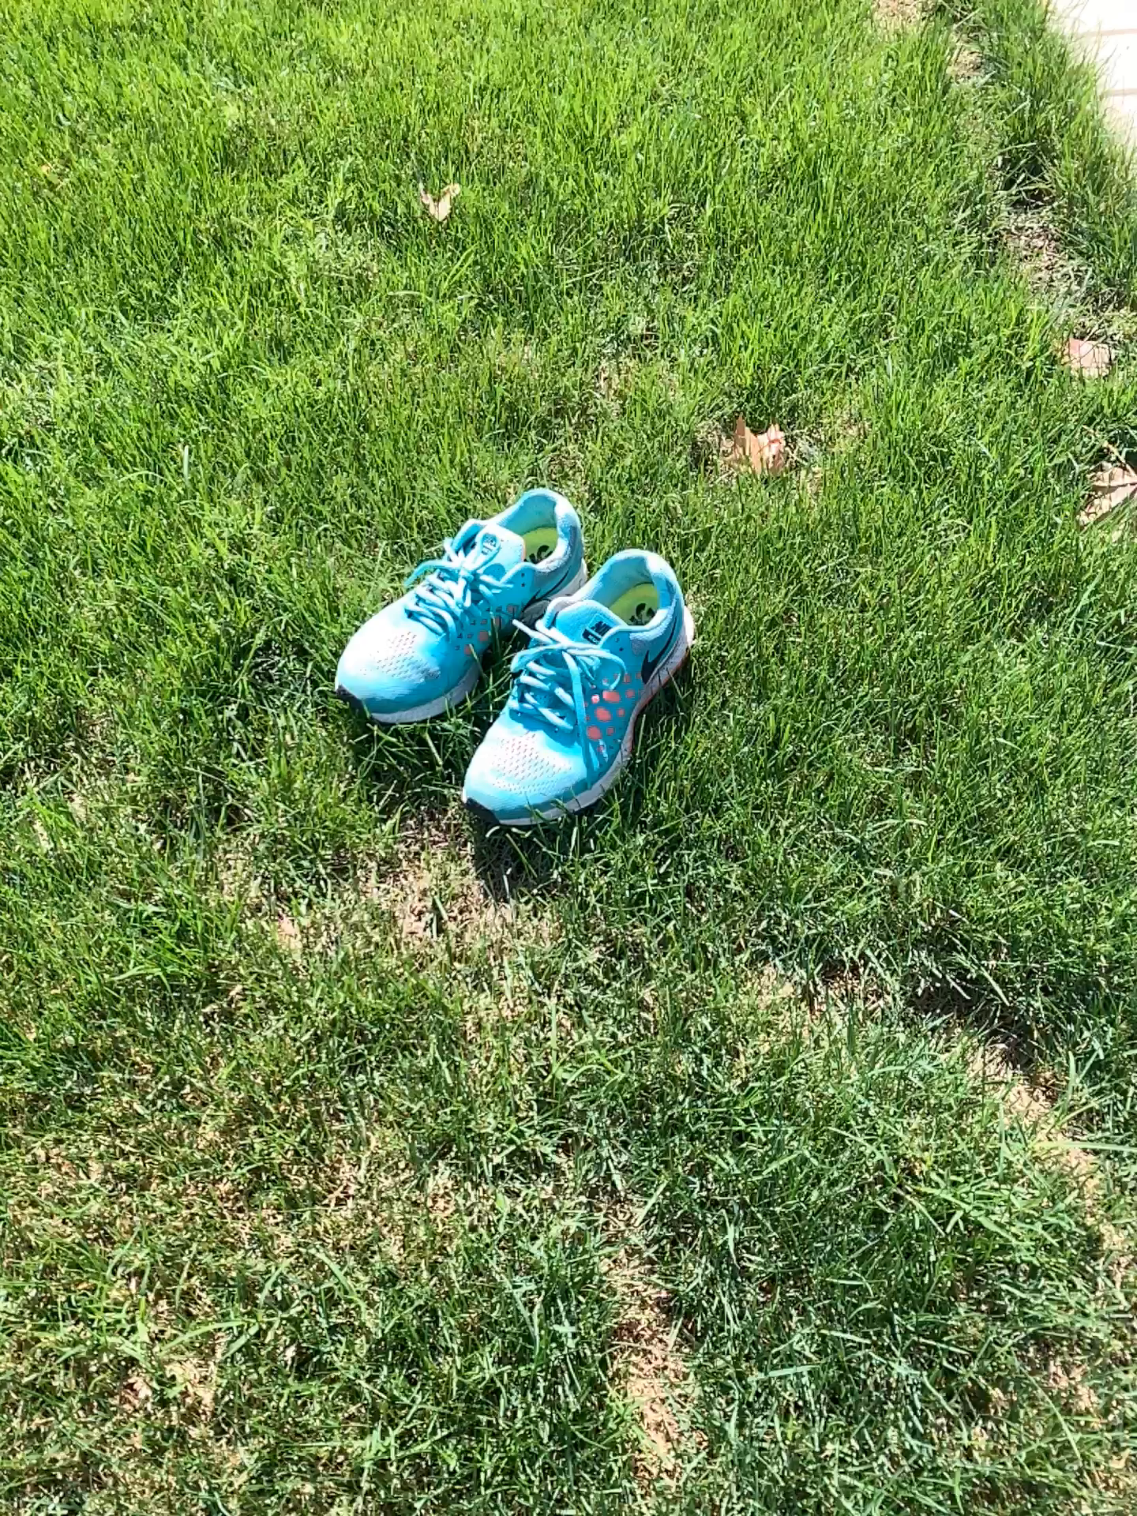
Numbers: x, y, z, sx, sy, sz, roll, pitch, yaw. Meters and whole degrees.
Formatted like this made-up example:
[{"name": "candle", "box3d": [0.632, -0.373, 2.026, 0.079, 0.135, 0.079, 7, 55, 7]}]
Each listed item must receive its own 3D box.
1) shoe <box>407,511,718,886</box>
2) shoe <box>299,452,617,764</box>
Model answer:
[{"name": "shoe", "box3d": [0.002, -0.051, 0.886, 0.110, 0.100, 0.260, 26, 61, 17]}, {"name": "shoe", "box3d": [-0.080, -0.124, 0.925, 0.100, 0.080, 0.250, 35, 64, 21]}]
